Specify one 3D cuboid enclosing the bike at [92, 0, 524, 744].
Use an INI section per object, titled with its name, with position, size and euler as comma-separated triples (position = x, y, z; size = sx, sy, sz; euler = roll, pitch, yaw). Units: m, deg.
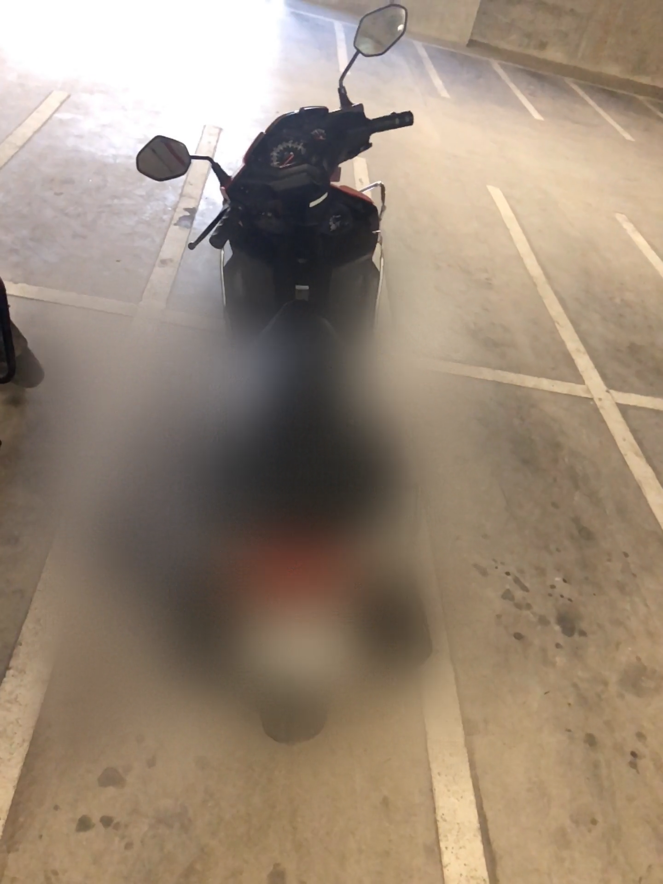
[bike]
position = -0.191, -0.457, 2.025
size = 0.582, 1.188, 1.959
euler = 7, 44, -12
